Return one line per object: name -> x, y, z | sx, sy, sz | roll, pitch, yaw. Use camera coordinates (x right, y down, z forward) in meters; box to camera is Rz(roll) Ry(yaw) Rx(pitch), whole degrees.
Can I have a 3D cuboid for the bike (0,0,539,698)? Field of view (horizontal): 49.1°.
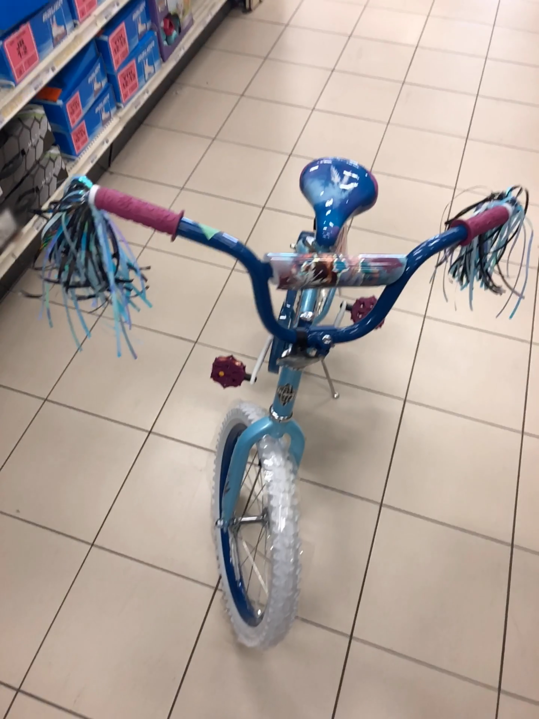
bike -> 0.111, -0.109, 1.149 | 0.640, 0.954, 1.180 | 7, 52, 5
